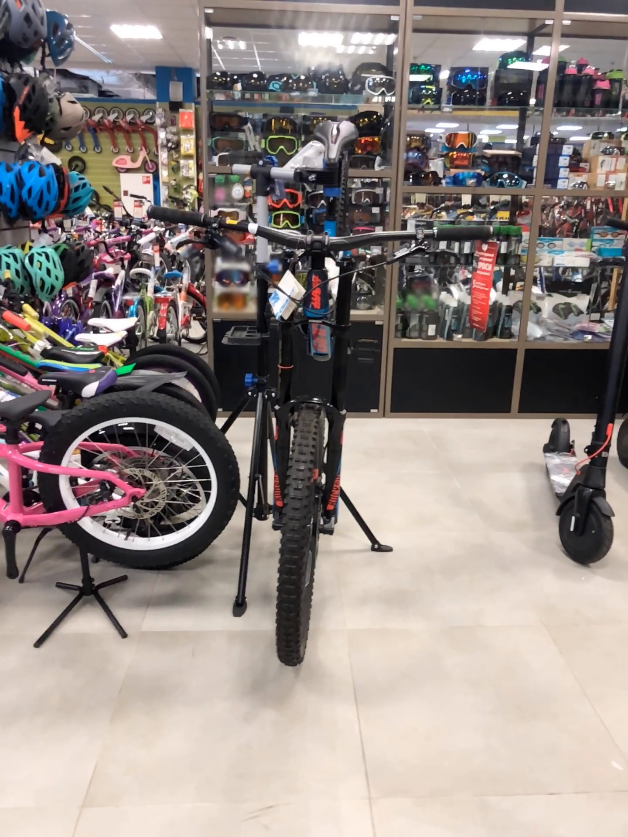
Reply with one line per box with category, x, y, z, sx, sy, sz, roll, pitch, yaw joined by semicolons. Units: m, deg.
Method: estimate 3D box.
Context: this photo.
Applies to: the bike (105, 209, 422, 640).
bike;-0.030;-0.149;2.052;0.659;0.181;1.532;5;44;5
